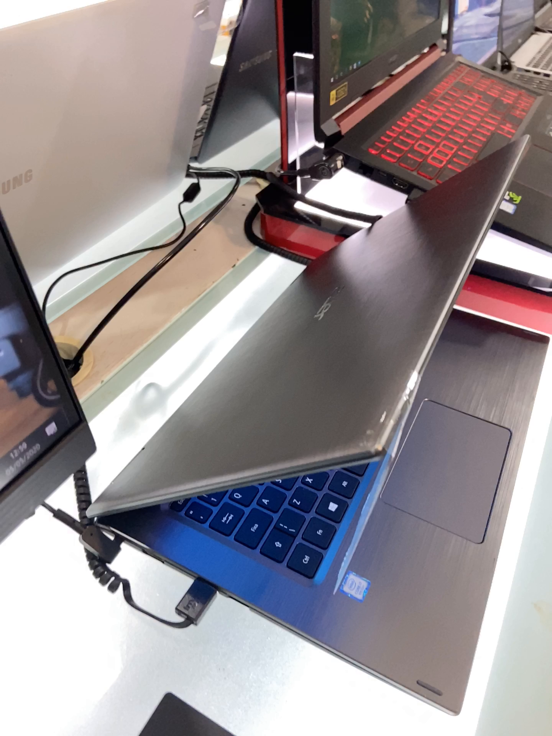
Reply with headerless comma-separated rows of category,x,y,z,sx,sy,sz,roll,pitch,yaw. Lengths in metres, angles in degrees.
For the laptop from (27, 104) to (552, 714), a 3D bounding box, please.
laptop,0.065,-0.025,0.366,0.218,0.154,0.329,20,44,18
